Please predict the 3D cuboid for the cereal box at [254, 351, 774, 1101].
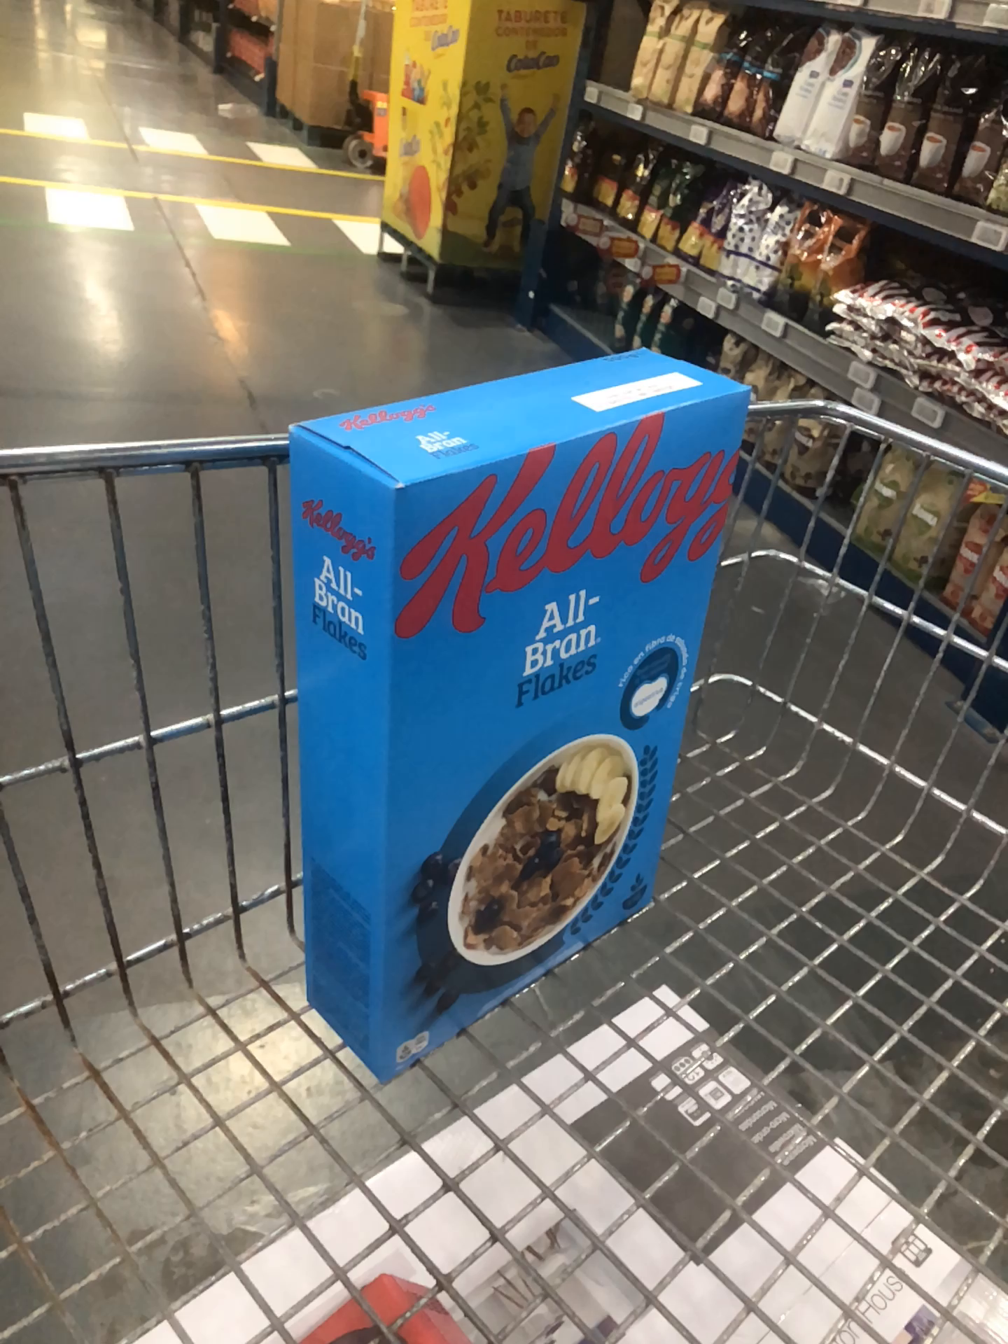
[{"bbox_3d":[0.002,0.017,0.487,0.080,0.269,0.201,30,38,35],"label":"cereal box"}]
